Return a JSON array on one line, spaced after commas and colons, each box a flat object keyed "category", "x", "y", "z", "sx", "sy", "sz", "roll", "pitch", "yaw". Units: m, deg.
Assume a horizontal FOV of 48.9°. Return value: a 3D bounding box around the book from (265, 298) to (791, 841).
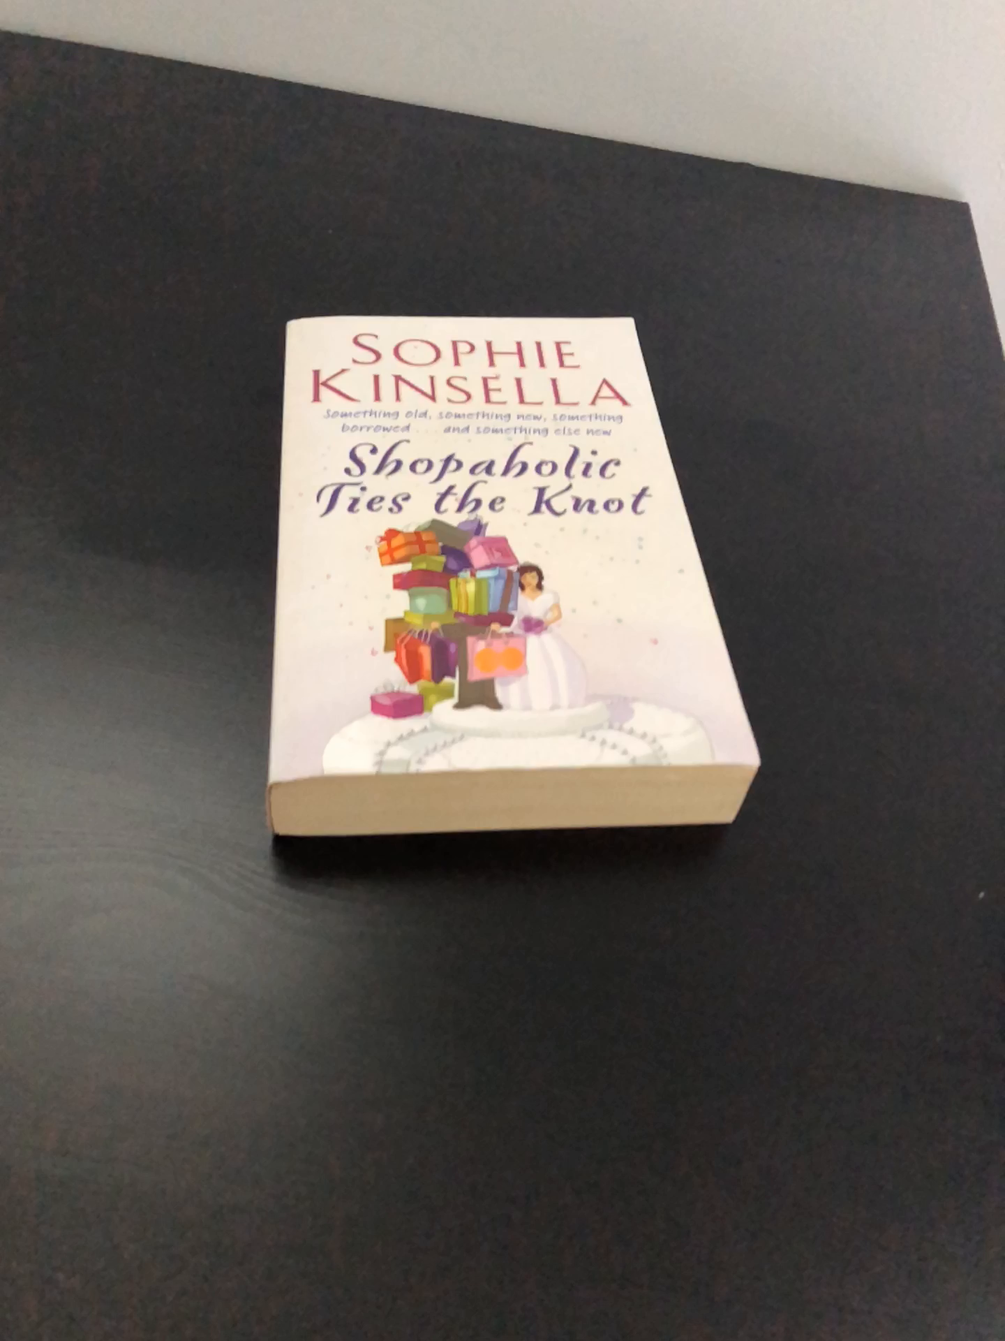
[{"category": "book", "x": -0.002, "y": -0.045, "z": 0.348, "sx": 0.130, "sy": 0.035, "sz": 0.201, "roll": -2, "pitch": 50, "yaw": -6}]
